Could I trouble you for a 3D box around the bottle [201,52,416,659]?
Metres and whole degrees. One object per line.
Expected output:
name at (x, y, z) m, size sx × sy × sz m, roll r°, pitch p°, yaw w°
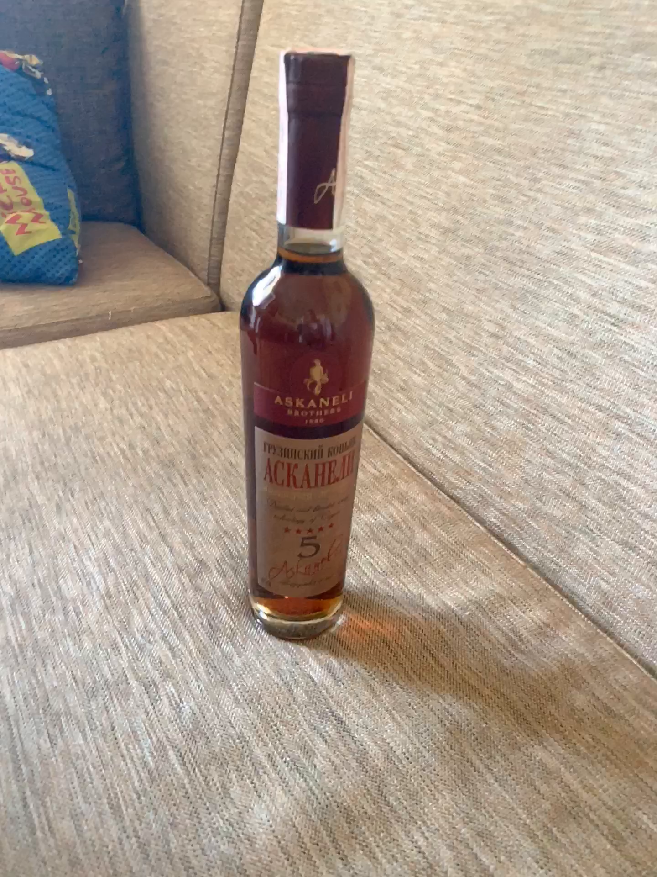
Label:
bottle at (-0.020, -0.019, 0.322) m, size 0.070 × 0.279 × 0.070 m, roll 3°, pitch 32°, yaw -2°
